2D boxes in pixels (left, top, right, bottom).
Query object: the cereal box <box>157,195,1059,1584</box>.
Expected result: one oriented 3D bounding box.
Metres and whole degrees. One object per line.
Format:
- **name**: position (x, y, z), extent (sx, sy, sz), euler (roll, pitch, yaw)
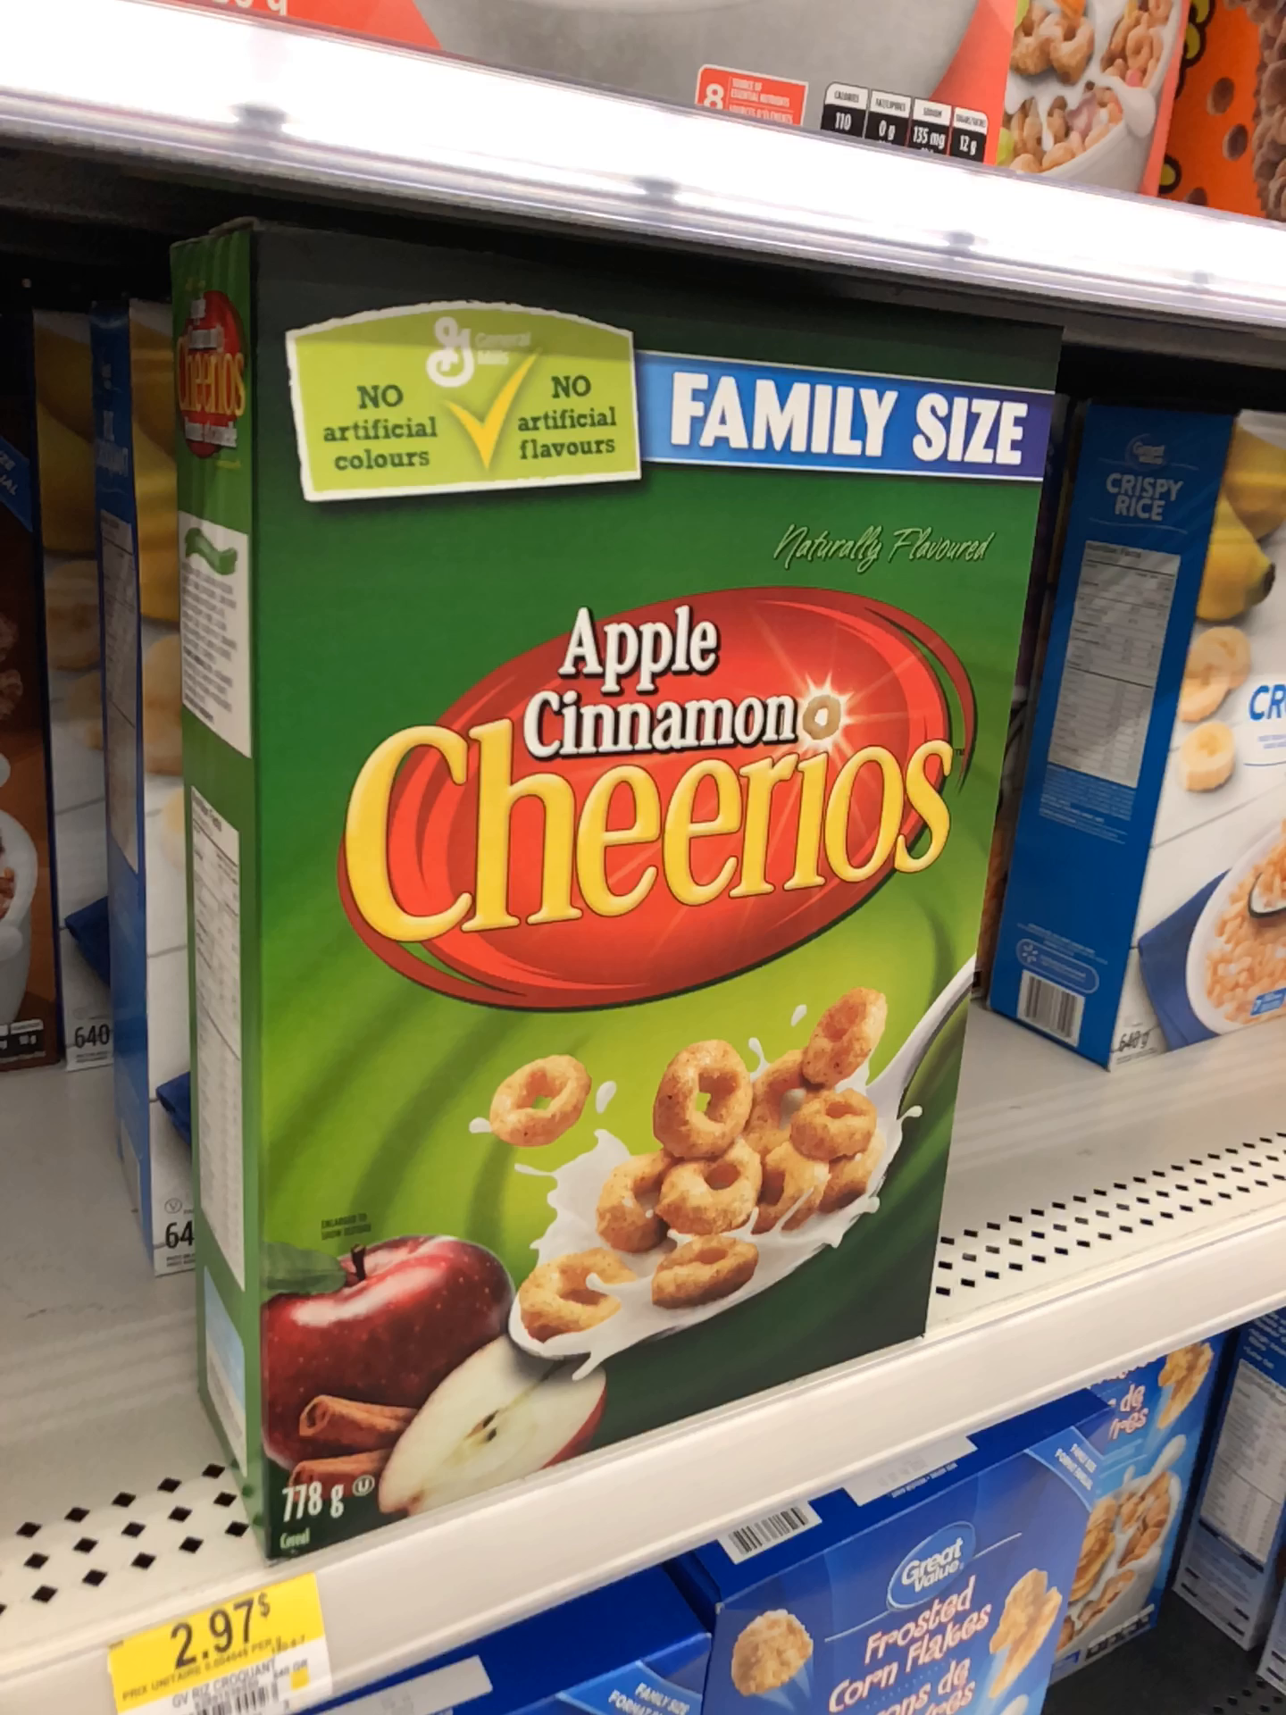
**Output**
- **cereal box**: position (-0.014, 0.008, 0.446), extent (0.240, 0.358, 0.090), euler (-6, 19, -31)
